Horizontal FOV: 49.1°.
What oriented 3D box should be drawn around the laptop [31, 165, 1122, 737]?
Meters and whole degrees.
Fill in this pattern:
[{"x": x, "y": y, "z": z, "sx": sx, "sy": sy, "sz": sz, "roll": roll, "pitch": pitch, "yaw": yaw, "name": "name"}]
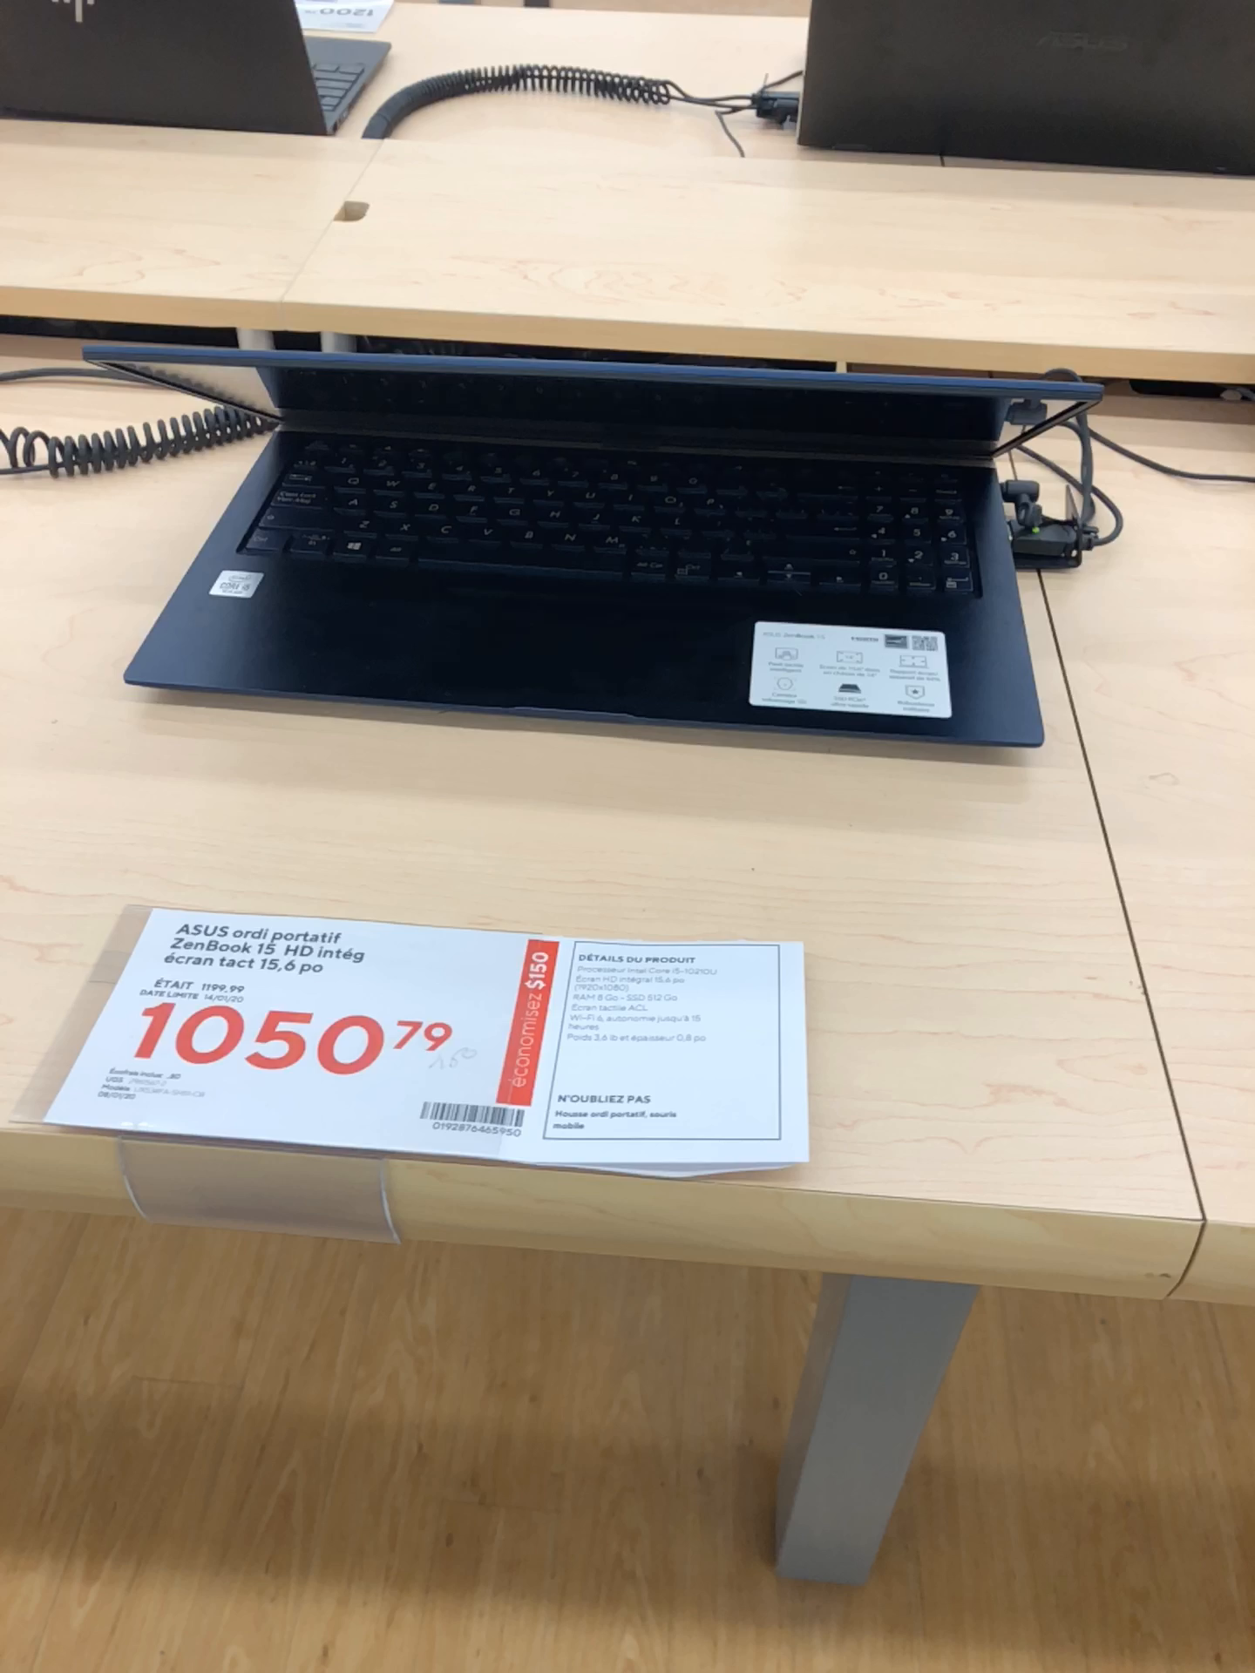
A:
[{"x": -0.008, "y": -0.162, "z": 0.547, "sx": 0.346, "sy": 0.119, "sz": 0.205, "roll": 4, "pitch": 44, "yaw": 4, "name": "laptop"}]
